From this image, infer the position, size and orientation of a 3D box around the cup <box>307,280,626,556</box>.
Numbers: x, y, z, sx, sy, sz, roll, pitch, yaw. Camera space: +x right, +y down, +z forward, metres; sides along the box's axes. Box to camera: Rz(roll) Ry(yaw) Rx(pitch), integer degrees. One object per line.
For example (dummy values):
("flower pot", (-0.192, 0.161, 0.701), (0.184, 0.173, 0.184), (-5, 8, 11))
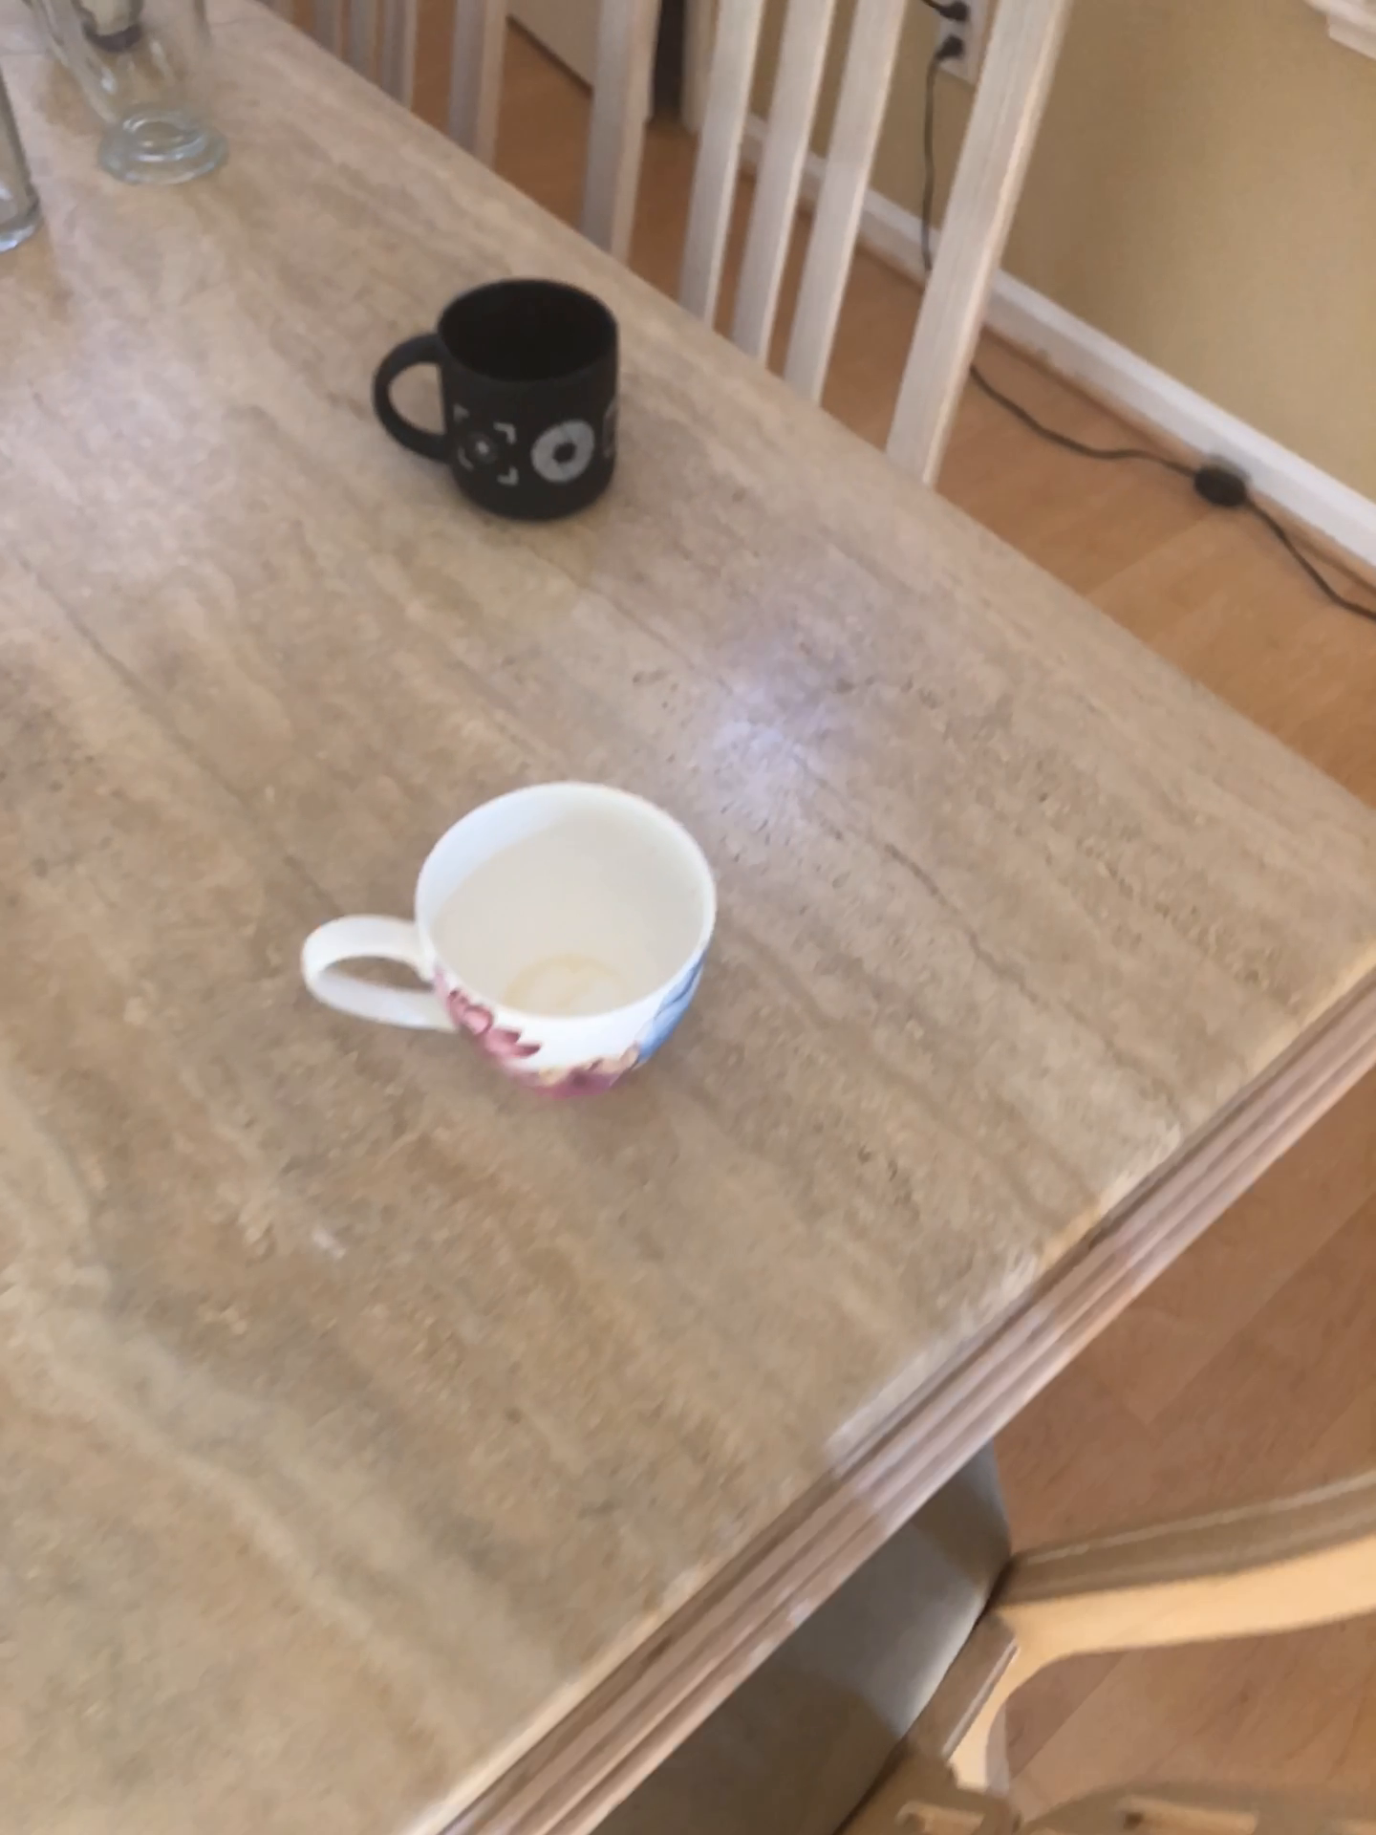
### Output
("cup", (-0.108, -0.257, 0.787), (0.150, 0.089, 0.101), (0, 54, -3))

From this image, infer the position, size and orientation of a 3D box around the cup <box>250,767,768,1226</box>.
("cup", (-0.066, 0.028, 0.561), (0.160, 0.089, 0.111), (-10, 56, -11))
